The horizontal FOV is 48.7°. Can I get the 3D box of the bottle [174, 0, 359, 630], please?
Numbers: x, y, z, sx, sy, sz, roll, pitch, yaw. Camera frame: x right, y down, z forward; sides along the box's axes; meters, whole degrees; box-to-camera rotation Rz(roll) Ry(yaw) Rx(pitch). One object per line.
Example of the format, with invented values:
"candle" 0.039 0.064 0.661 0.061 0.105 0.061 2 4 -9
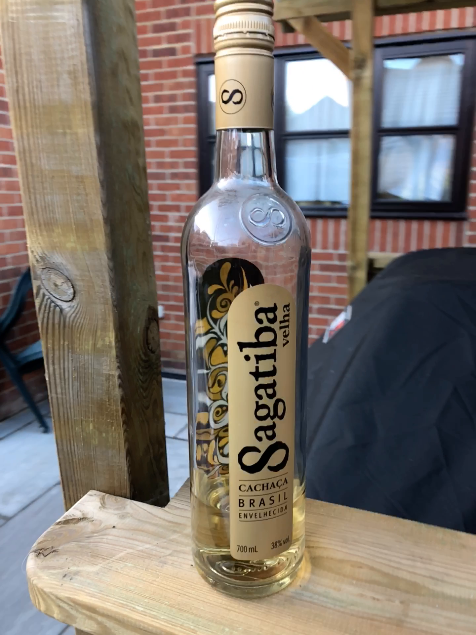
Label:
"bottle" 0.011 0.006 0.297 0.080 0.329 0.060 -2 12 -11
